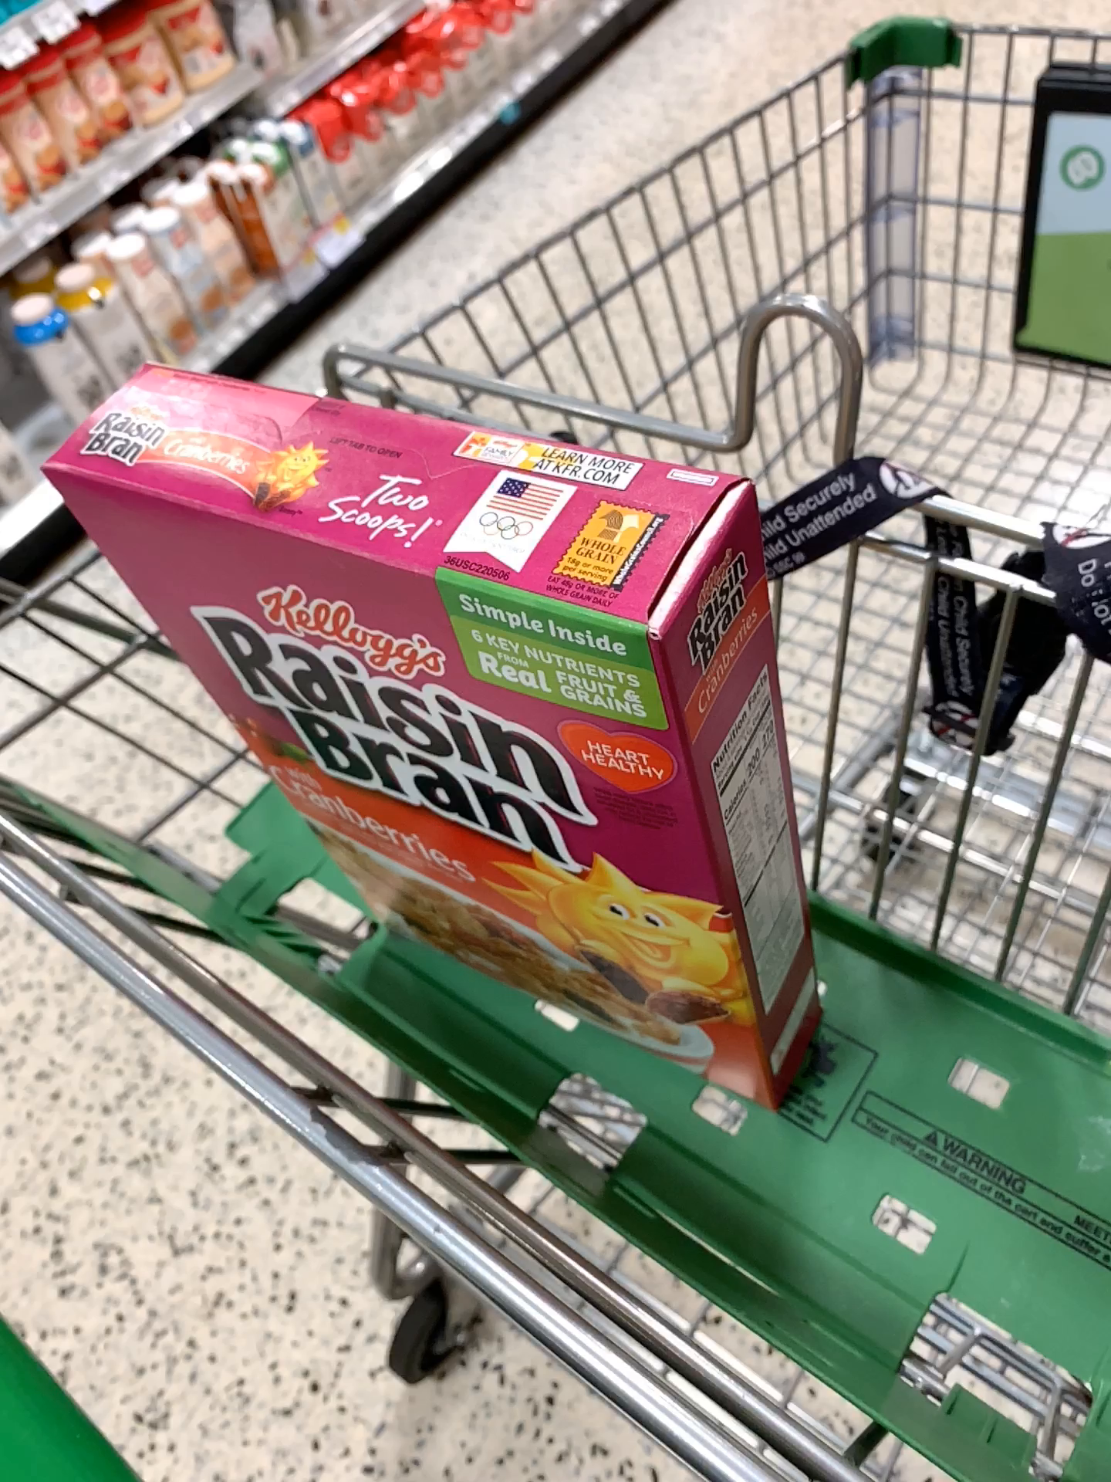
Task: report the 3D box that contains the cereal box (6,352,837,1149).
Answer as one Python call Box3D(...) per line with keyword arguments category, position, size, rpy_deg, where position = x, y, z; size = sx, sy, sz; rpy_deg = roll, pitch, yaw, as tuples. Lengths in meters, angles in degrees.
Box3D(category="cereal box", position=(-0.015, 0.027, 0.415), size=(0.211, 0.327, 0.050), rpy_deg=(19, 62, 27))
